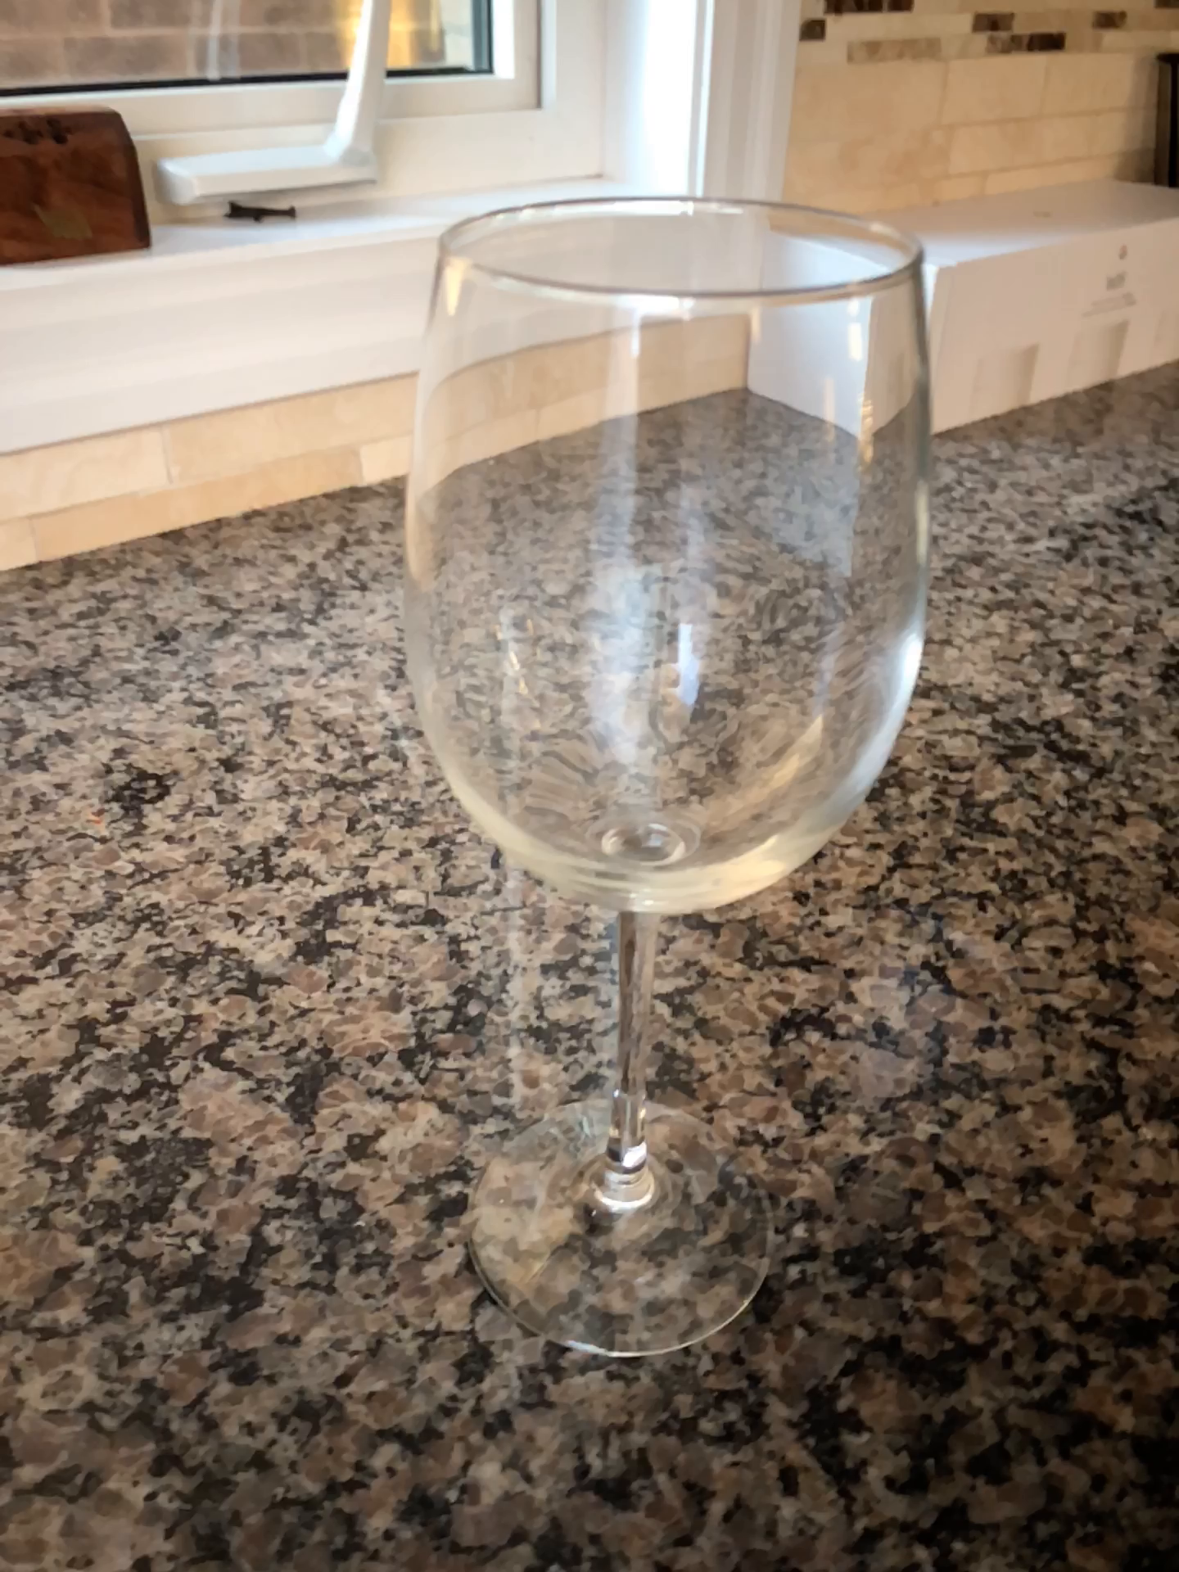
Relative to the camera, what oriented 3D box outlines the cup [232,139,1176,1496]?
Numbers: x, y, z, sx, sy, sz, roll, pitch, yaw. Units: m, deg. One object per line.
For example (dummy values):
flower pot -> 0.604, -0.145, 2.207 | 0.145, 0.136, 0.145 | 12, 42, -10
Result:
cup -> 0.012, 0.007, 0.247 | 0.095, 0.217, 0.097 | 1, 33, -1
